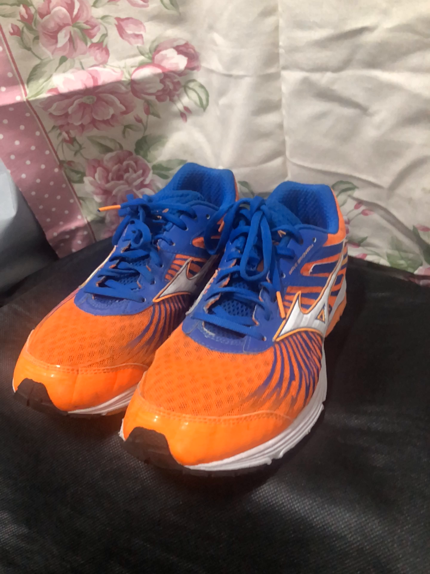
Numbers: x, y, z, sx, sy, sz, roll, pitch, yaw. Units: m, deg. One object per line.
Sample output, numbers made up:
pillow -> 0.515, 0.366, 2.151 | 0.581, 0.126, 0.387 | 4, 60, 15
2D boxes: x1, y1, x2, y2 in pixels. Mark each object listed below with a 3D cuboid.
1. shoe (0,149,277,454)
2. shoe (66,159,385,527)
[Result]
shoe -> -0.045, -0.014, 0.353 | 0.110, 0.109, 0.221 | 13, 33, 21
shoe -> 0.029, 0.006, 0.310 | 0.110, 0.109, 0.221 | 13, 33, 21
